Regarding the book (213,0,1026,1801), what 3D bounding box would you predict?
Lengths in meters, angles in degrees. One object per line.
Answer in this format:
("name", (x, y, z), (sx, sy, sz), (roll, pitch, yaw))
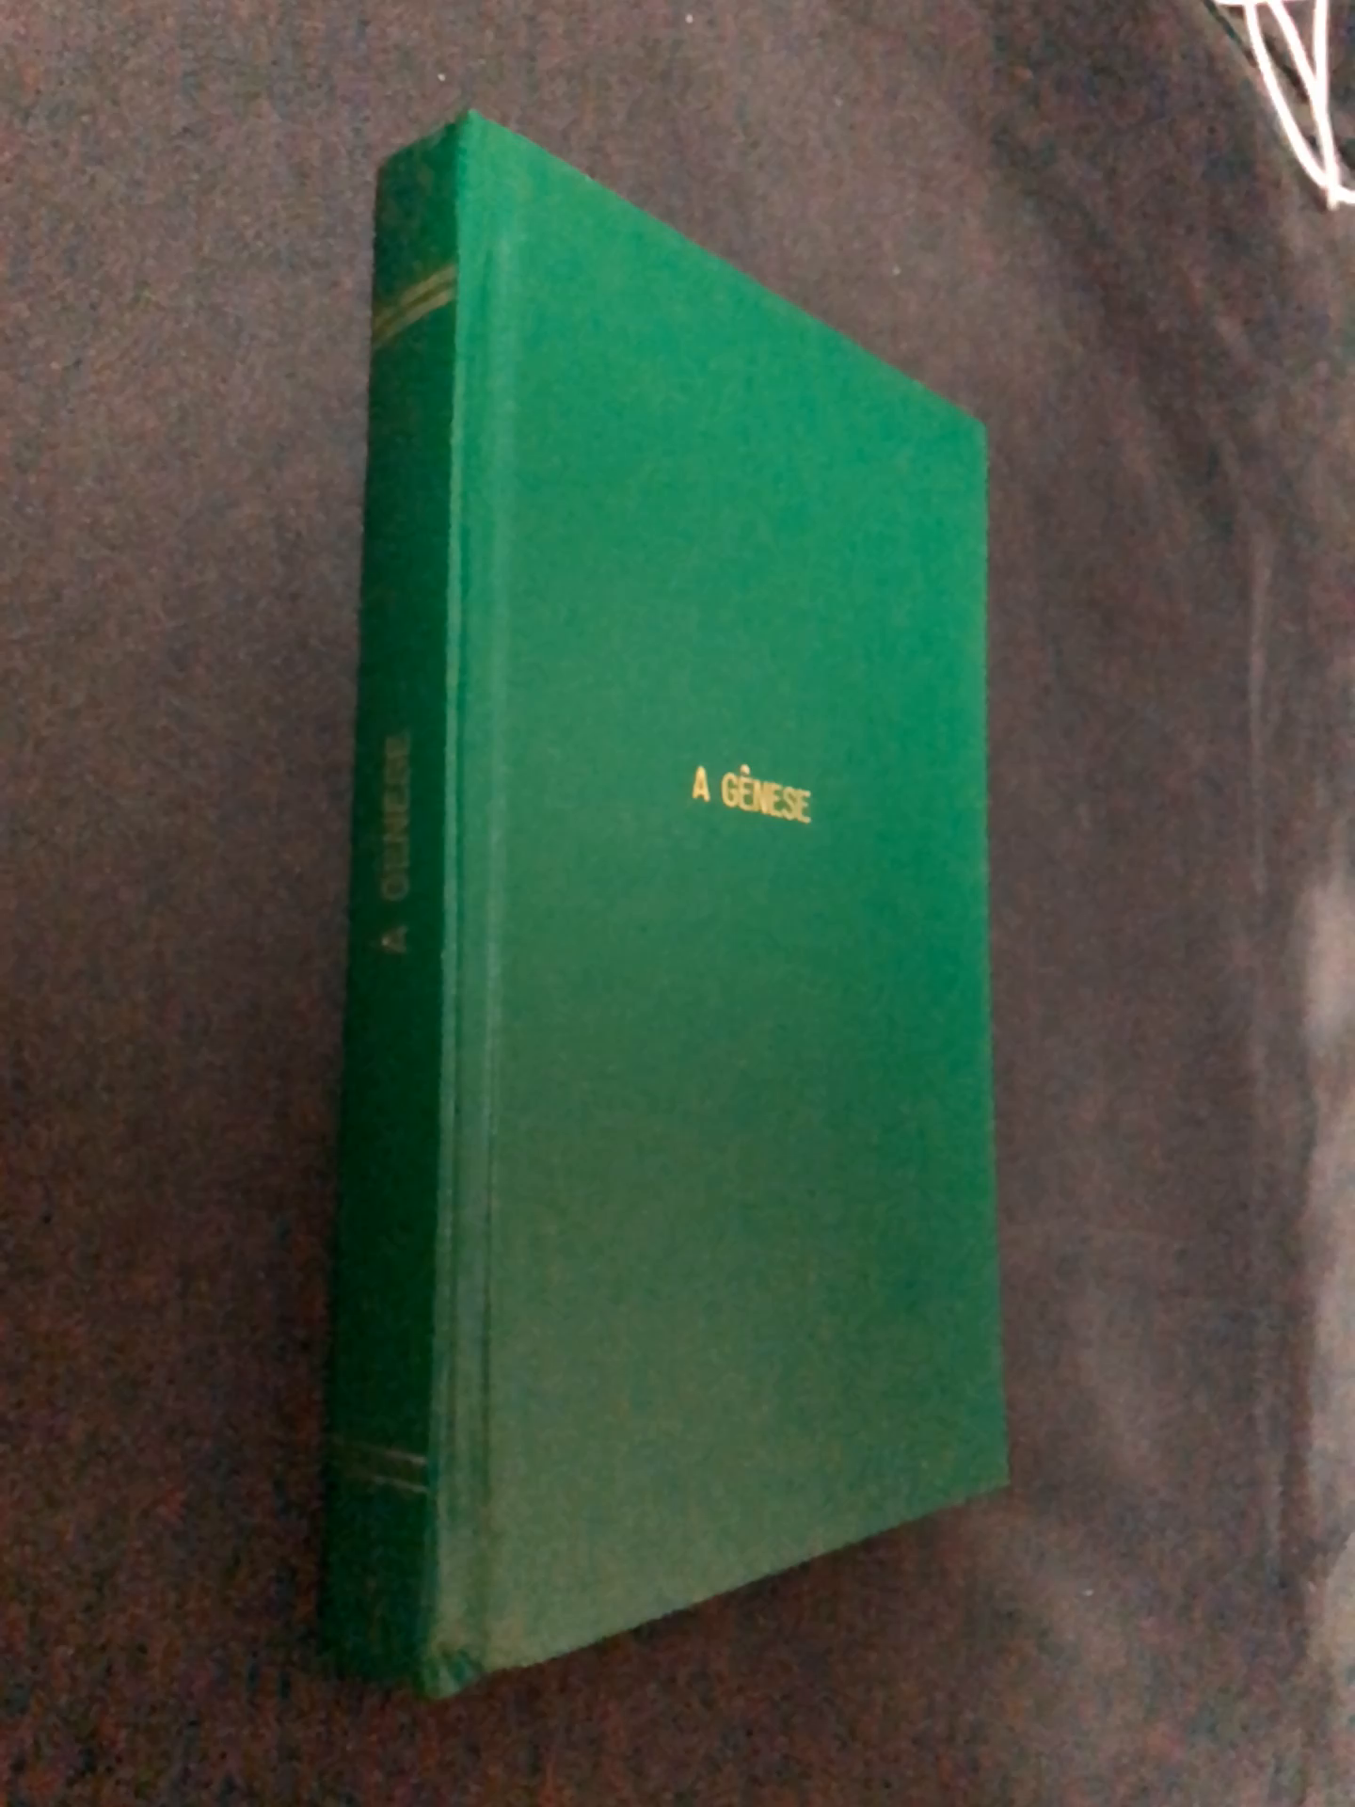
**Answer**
("book", (0.001, -0.004, 0.263), (0.151, 0.040, 0.240), (8, 79, -48))
